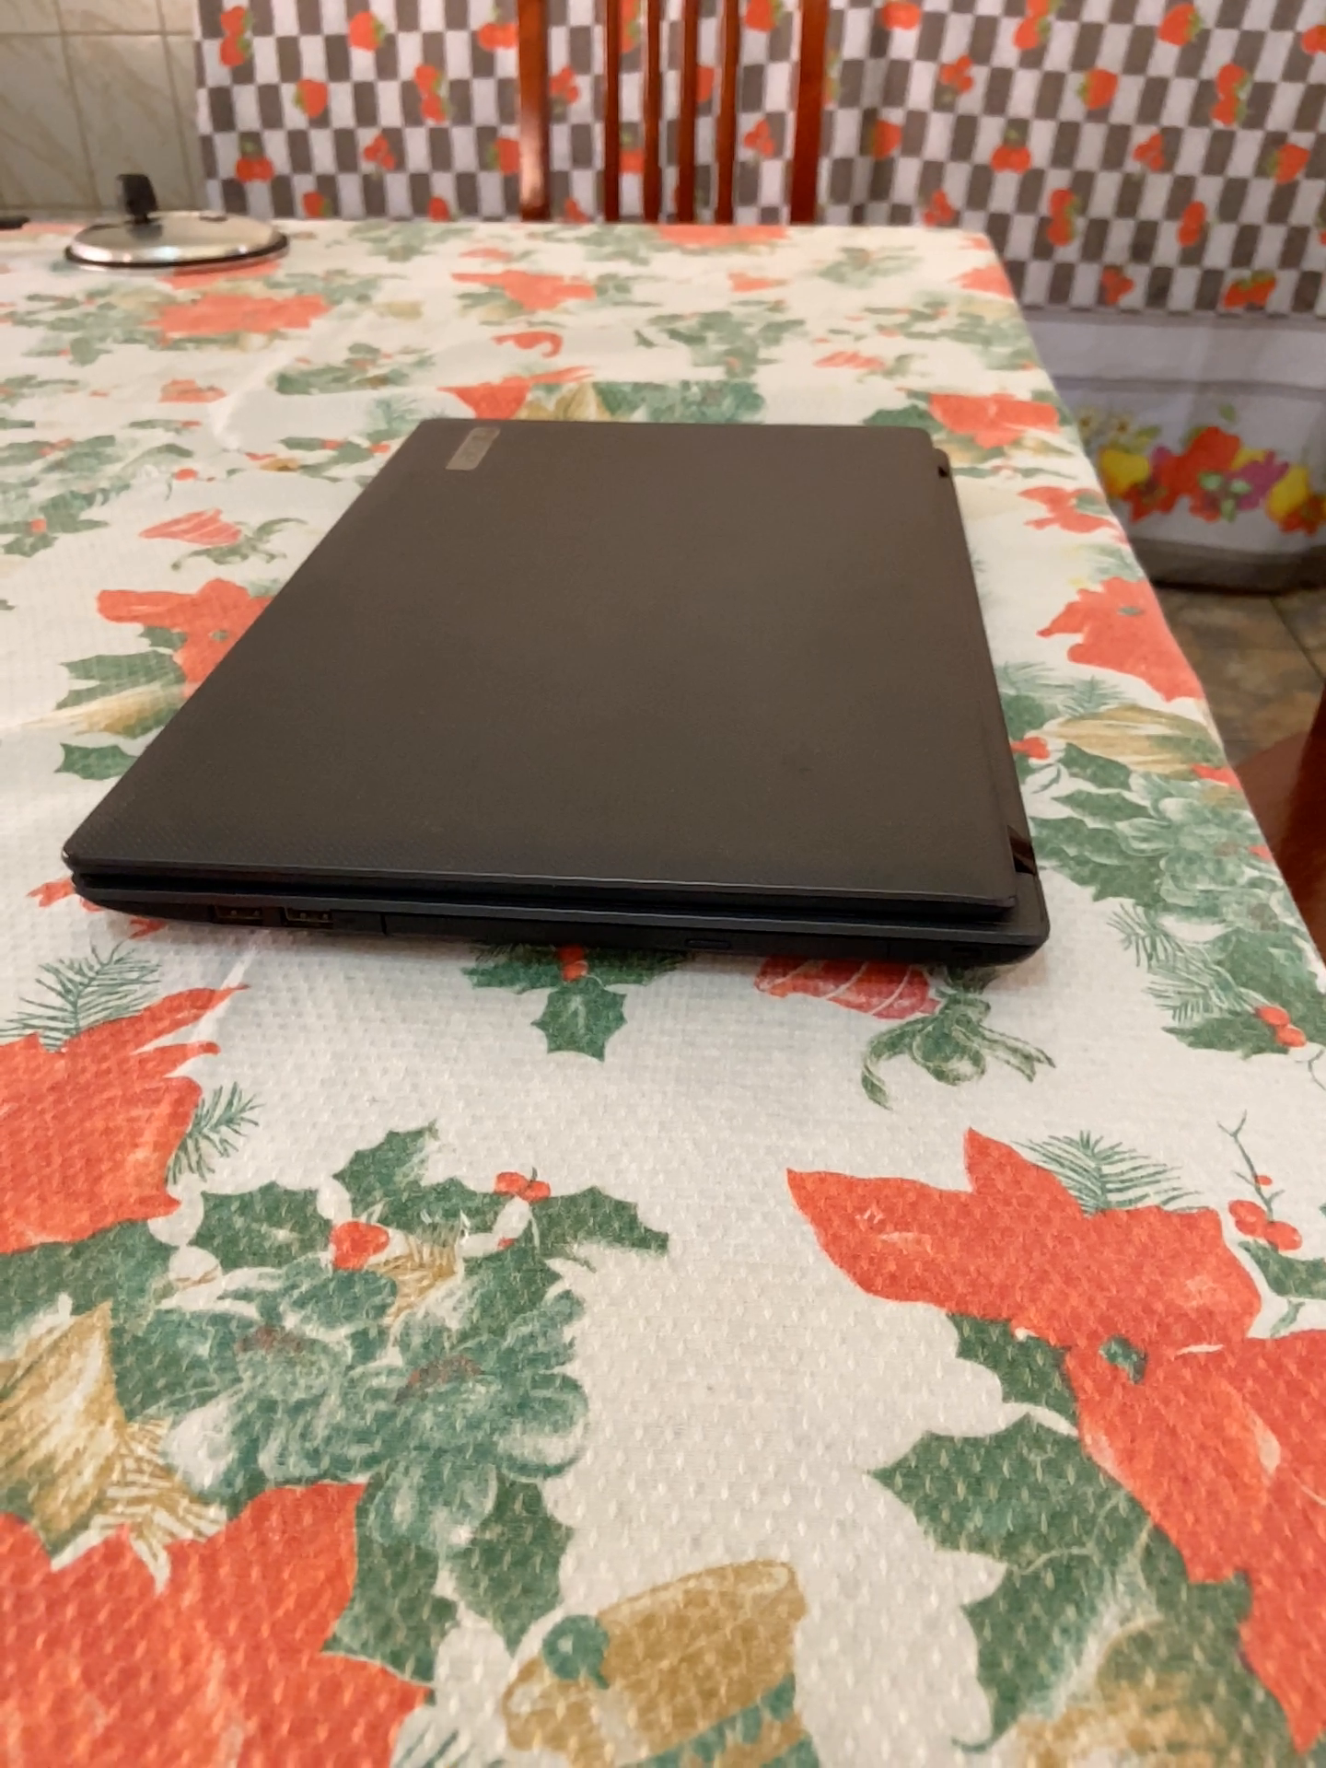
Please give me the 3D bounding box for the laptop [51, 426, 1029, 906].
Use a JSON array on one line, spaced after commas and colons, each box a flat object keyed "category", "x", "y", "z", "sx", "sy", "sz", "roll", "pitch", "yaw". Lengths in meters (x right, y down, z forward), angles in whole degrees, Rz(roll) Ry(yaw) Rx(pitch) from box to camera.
[{"category": "laptop", "x": -0.012, "y": -0.099, "z": 0.454, "sx": 0.223, "sy": 0.001, "sz": 0.352, "roll": 3, "pitch": 34, "yaw": 5}]
